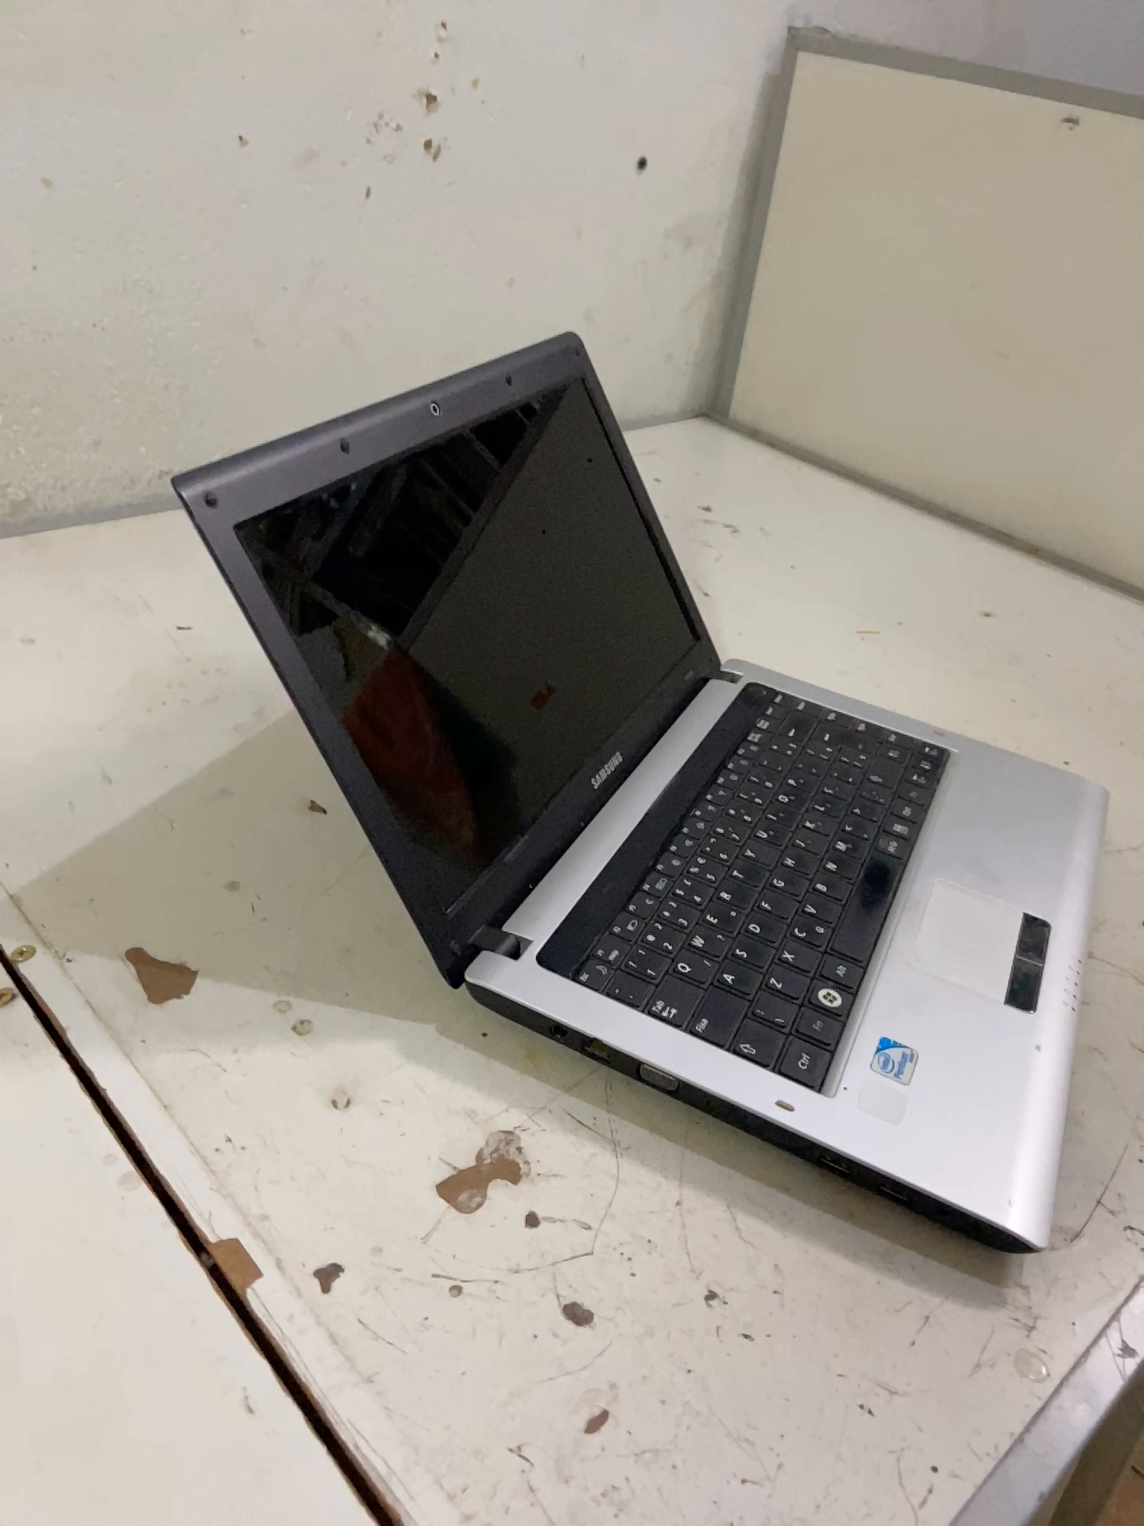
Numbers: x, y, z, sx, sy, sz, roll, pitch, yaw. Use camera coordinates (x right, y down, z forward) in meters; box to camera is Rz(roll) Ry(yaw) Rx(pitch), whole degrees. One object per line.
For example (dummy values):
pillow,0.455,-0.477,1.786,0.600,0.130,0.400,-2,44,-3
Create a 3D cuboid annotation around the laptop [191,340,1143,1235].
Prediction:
laptop,0.082,-0.043,0.549,0.362,0.172,0.336,20,34,18
